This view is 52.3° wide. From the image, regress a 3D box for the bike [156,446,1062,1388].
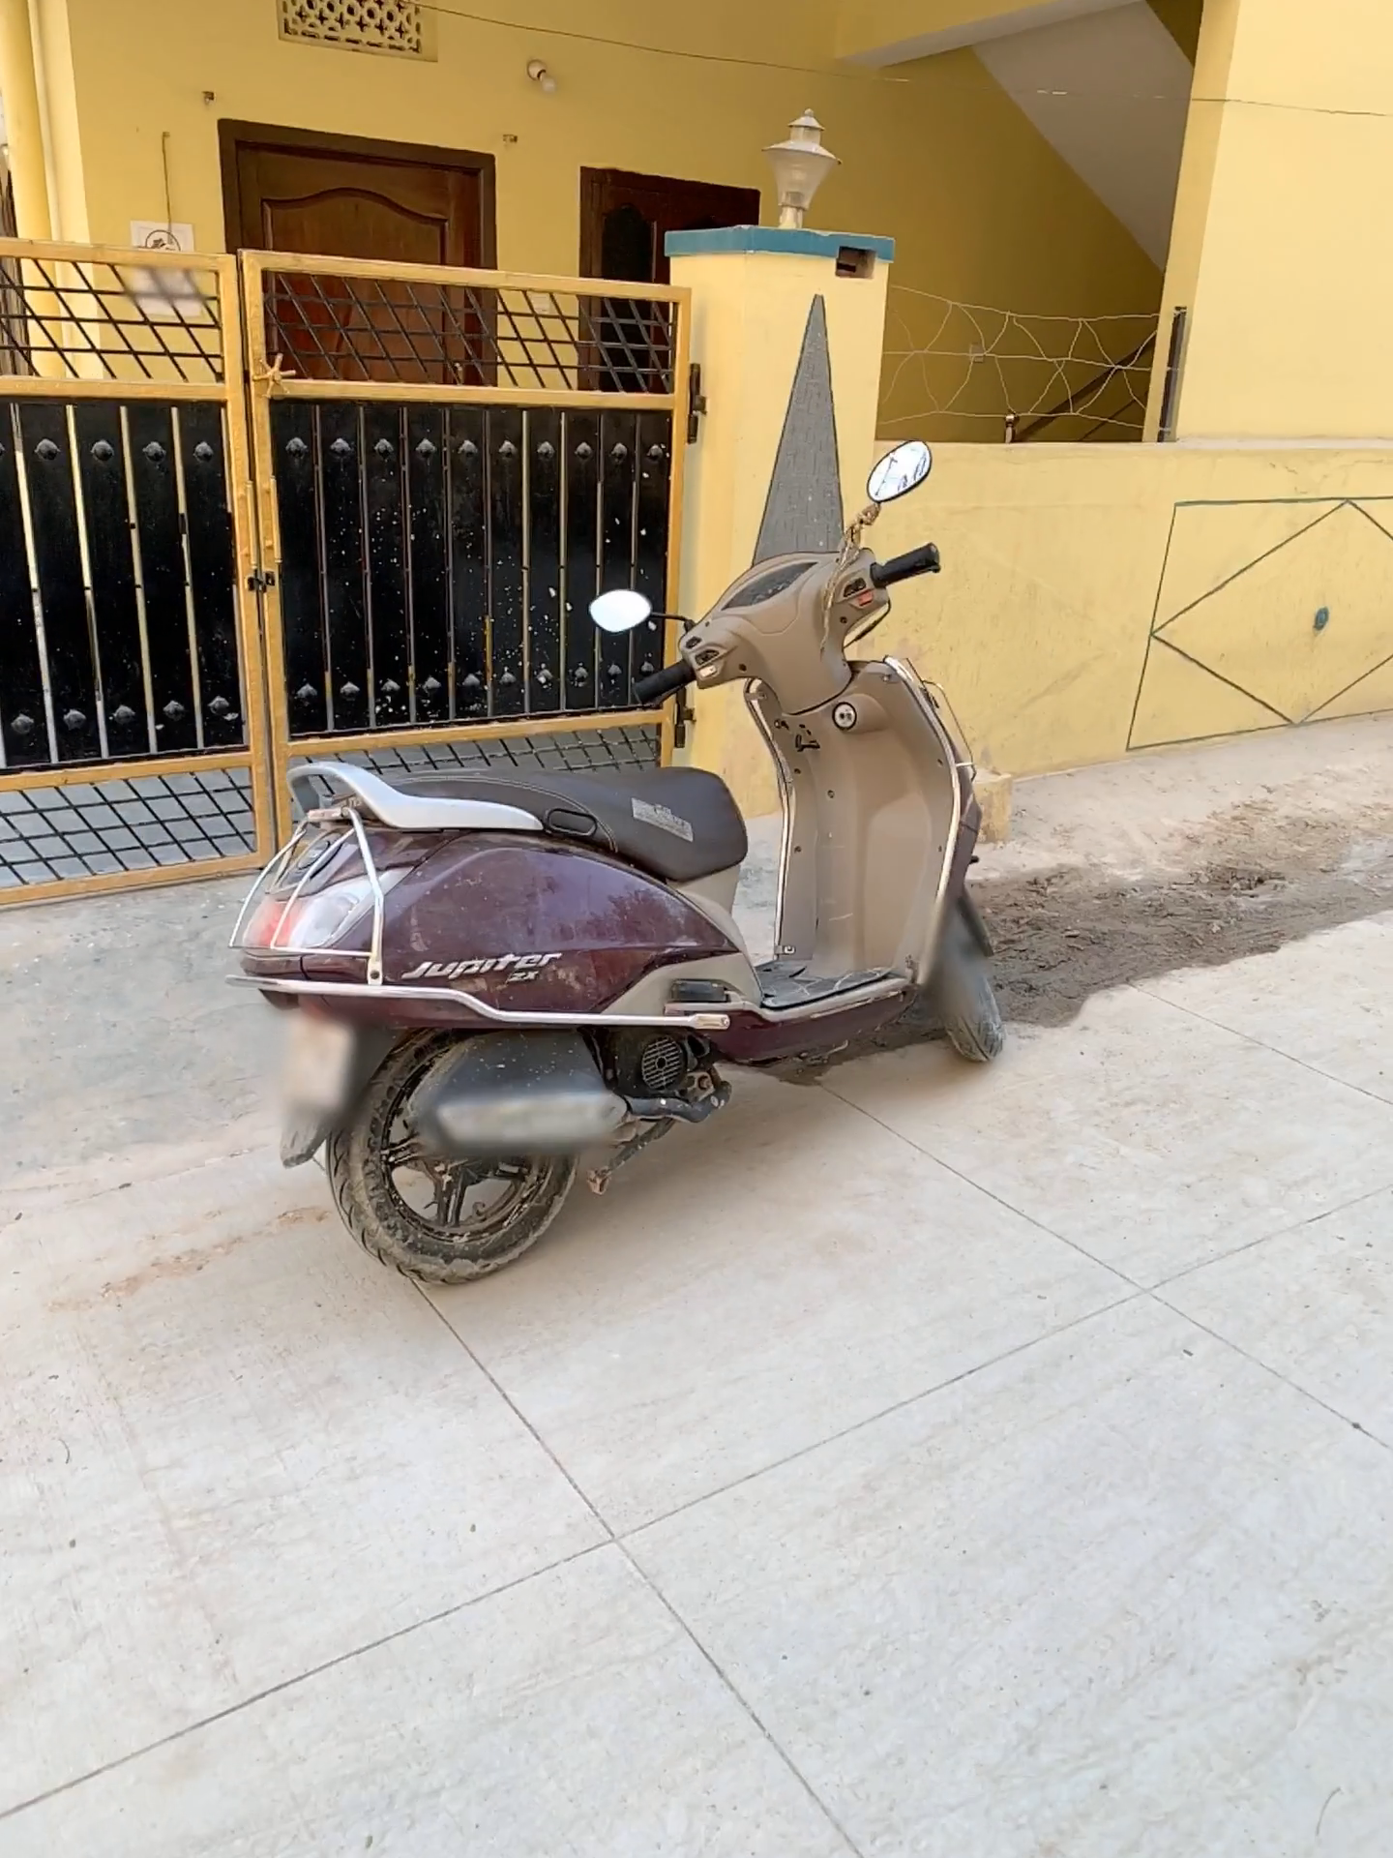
[{"bbox_3d":[-0.083,-0.181,2.635,1.528,1.159,0.614,-22,31,-40],"label":"bike"}]
